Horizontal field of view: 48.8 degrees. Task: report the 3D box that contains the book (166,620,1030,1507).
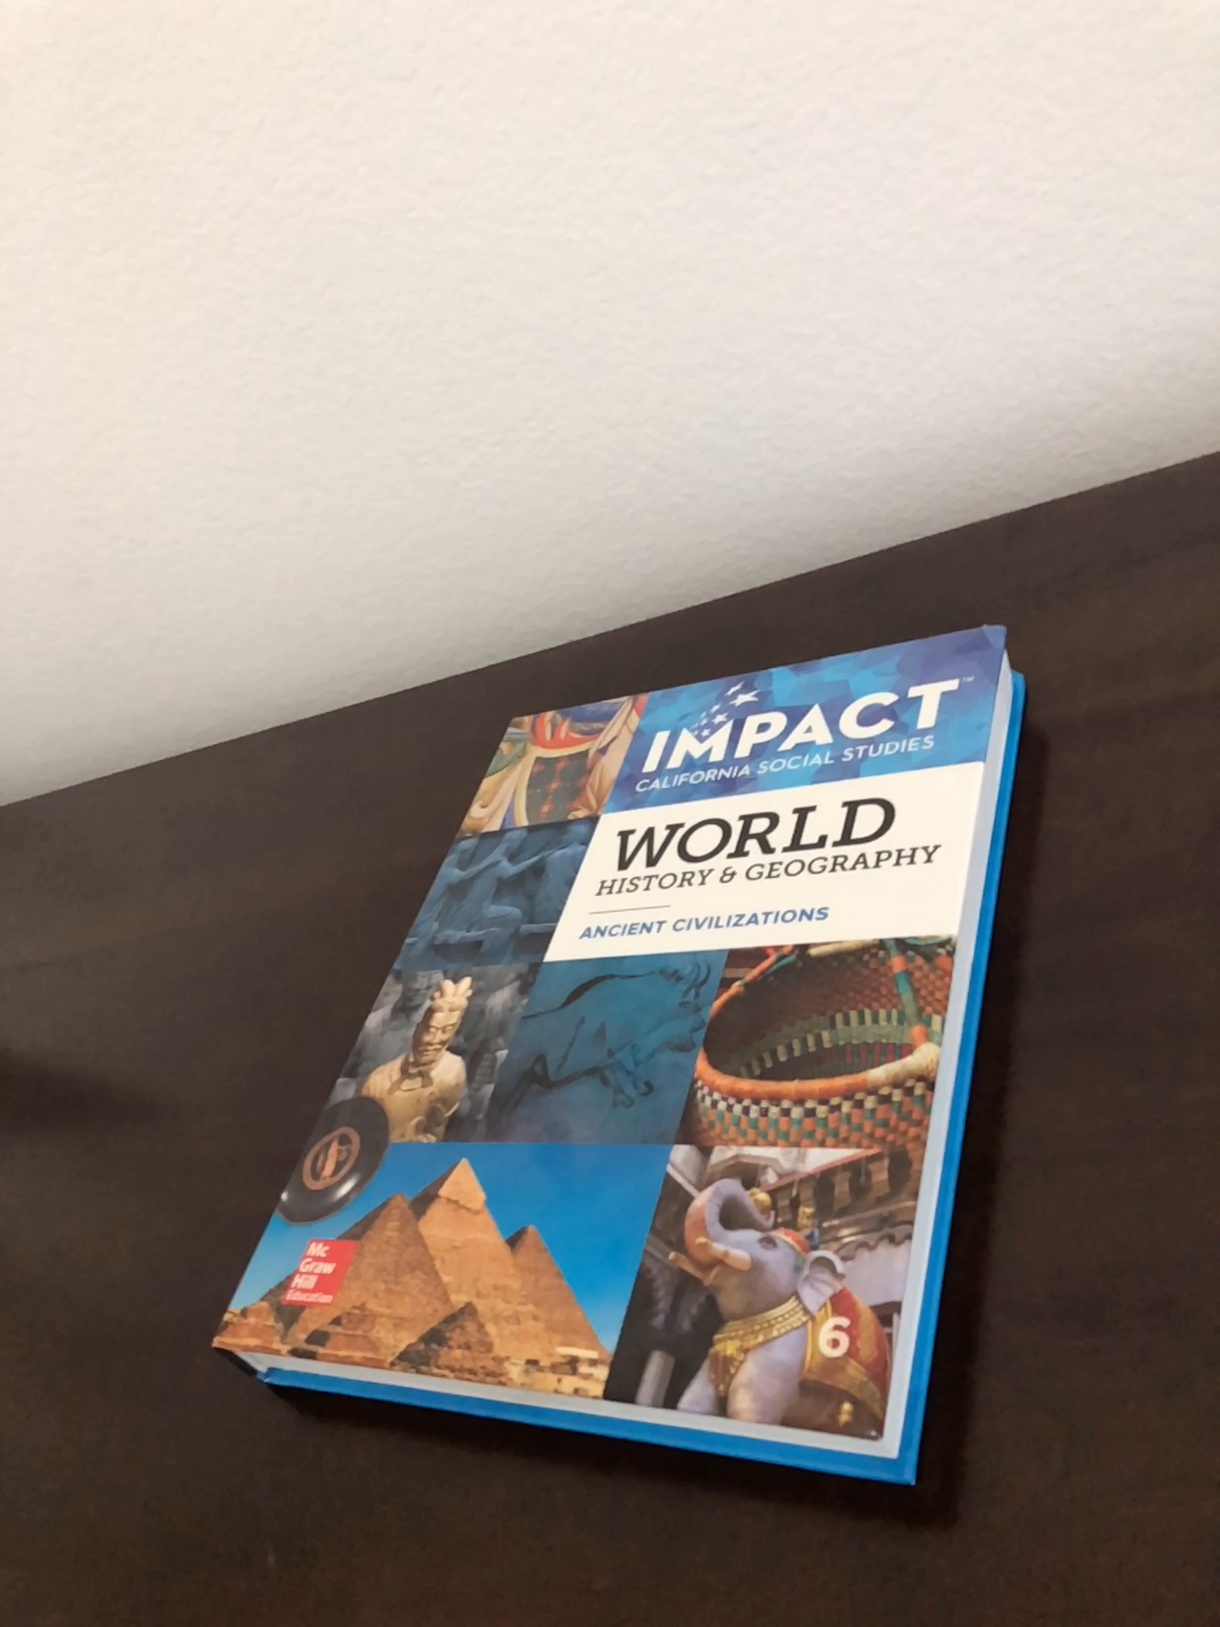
[{"bbox_3d":[0.008,0.058,0.450,0.227,0.030,0.286,-7,43,32],"label":"book"}]
